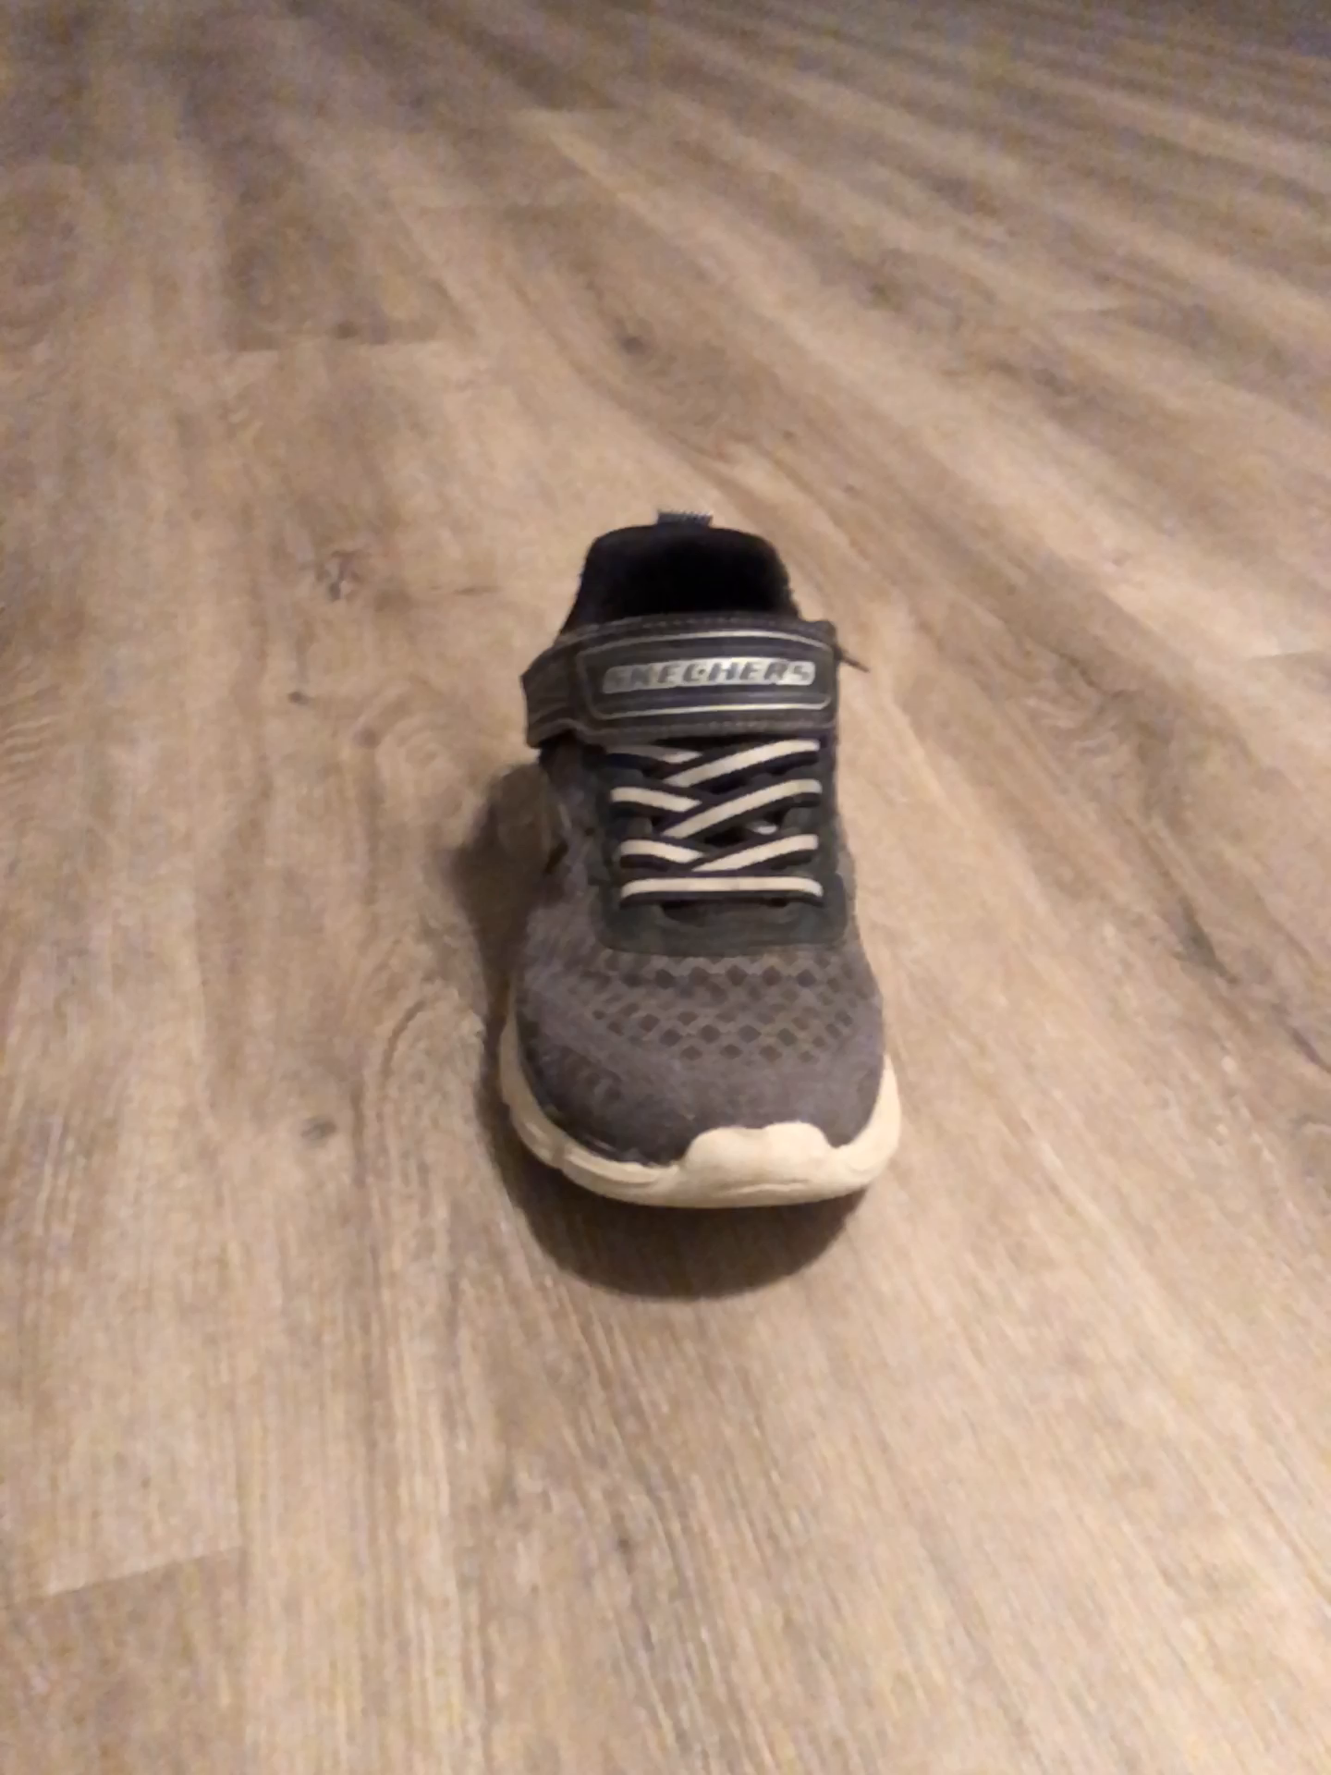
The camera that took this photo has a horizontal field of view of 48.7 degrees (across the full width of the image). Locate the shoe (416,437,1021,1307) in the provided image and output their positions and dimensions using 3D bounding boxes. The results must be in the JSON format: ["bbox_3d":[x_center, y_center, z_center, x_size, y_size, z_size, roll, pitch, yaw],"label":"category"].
[{"bbox_3d":[0.002,-0.023,0.365,0.100,0.099,0.231,0,35,-3],"label":"shoe"}]
